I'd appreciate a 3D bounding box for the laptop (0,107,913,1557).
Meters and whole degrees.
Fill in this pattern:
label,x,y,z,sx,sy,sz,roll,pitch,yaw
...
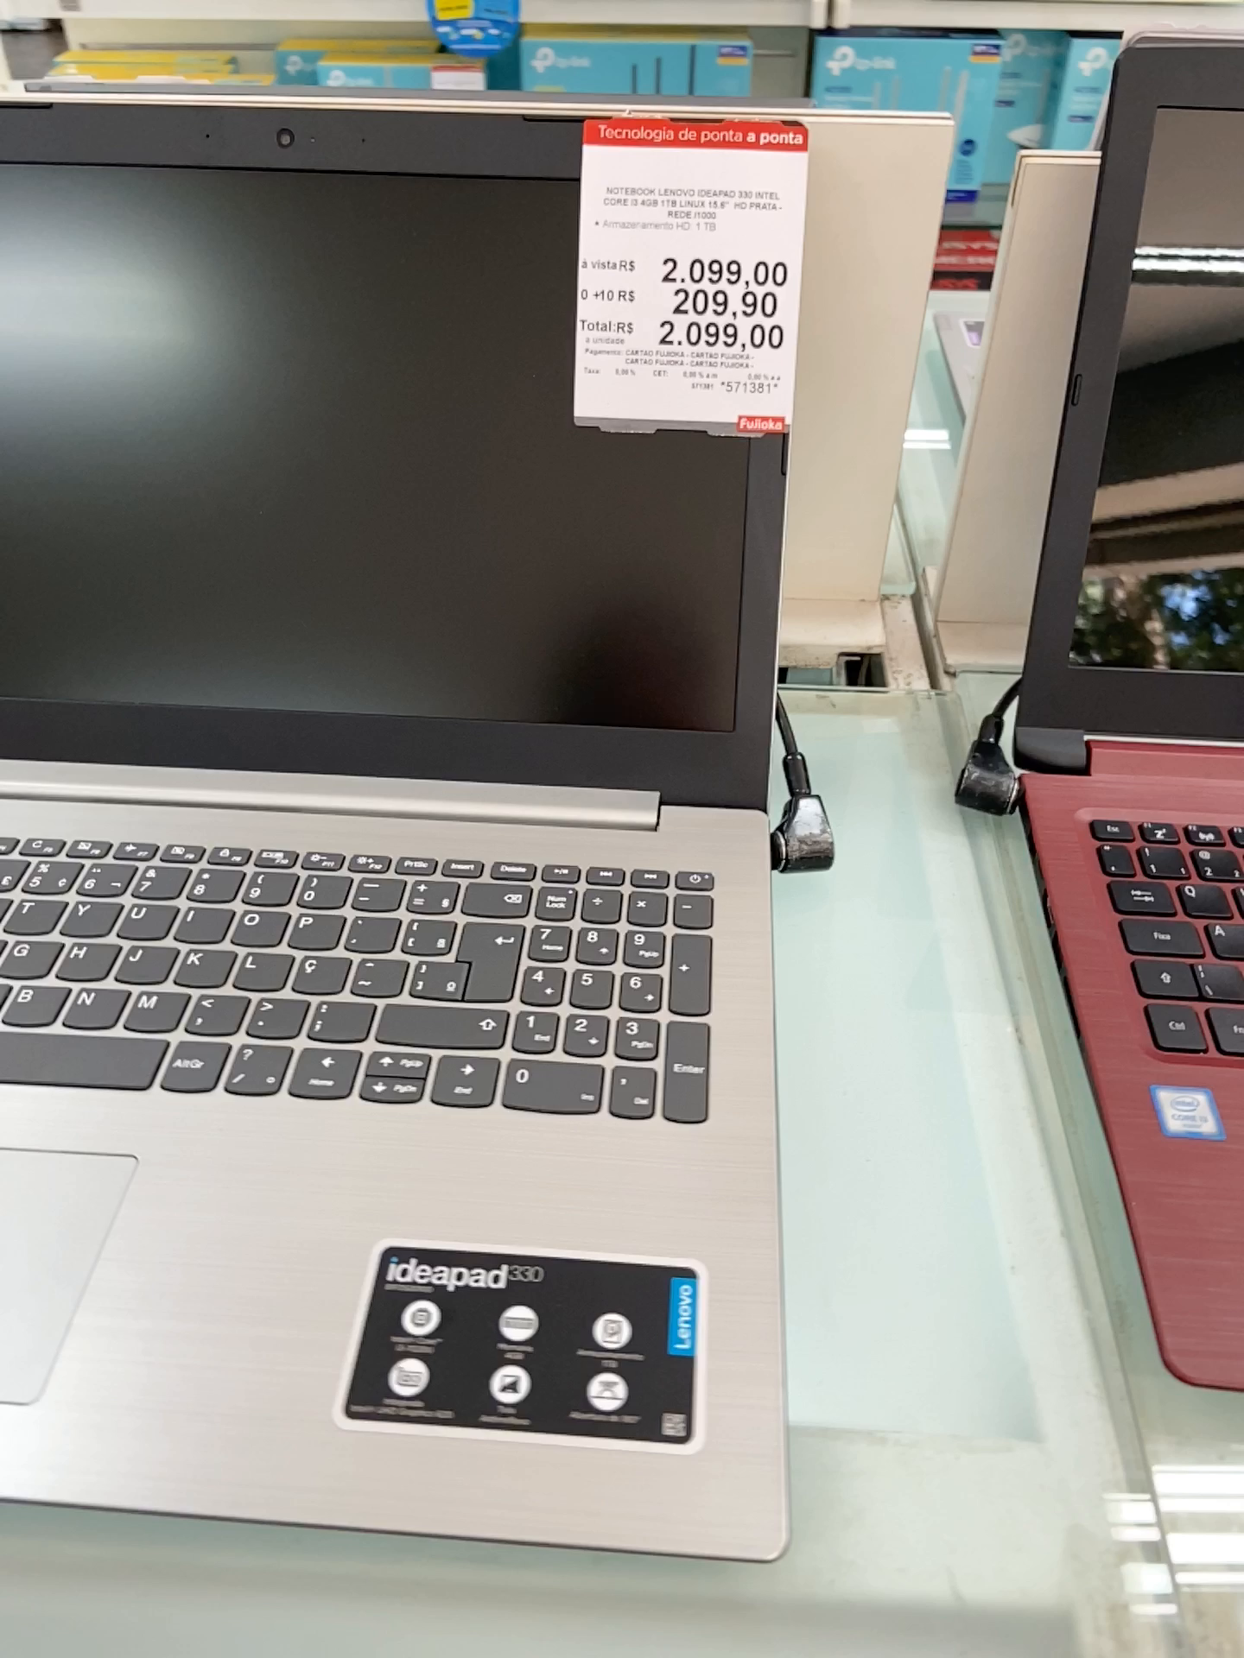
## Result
label,x,y,z,sx,sy,sz,roll,pitch,yaw
laptop,-0.134,-0.051,0.374,0.370,0.194,0.391,3,42,3
